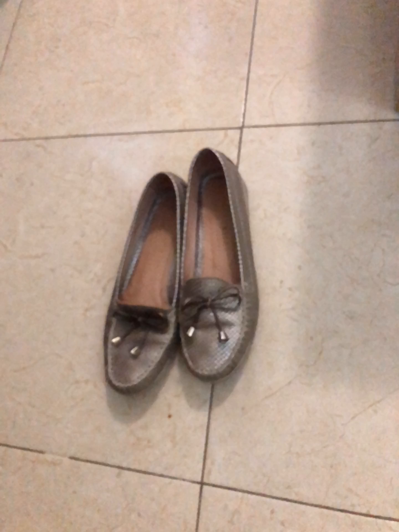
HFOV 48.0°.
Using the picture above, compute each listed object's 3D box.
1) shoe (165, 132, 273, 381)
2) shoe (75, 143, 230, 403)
[{"bbox_3d":[0.025,-0.009,0.518,0.100,0.080,0.270,-4,71,15],"label":"shoe"},{"bbox_3d":[-0.048,0.004,0.553,0.100,0.080,0.300,8,75,19],"label":"shoe"}]
